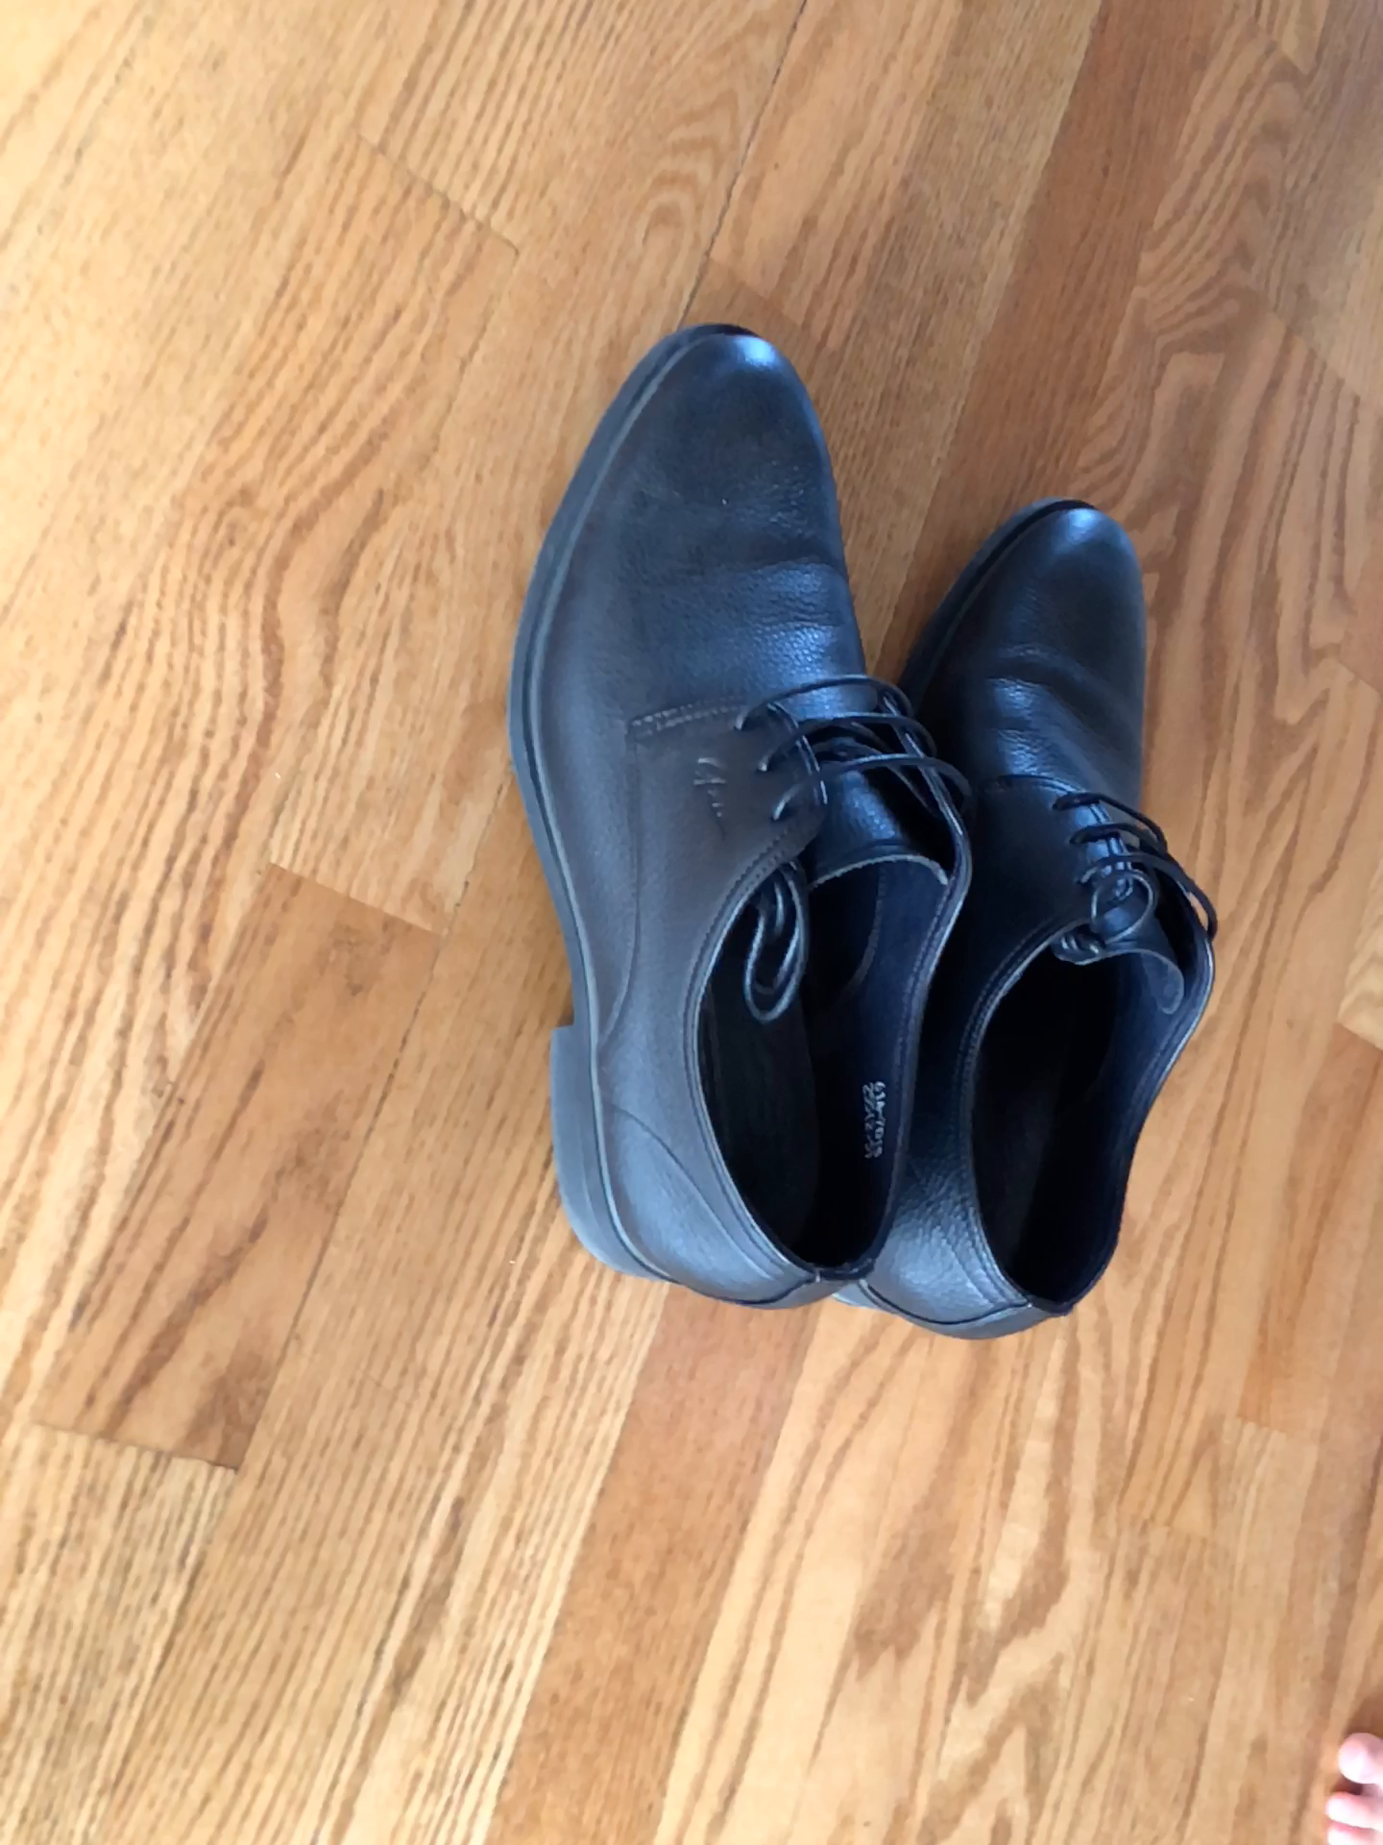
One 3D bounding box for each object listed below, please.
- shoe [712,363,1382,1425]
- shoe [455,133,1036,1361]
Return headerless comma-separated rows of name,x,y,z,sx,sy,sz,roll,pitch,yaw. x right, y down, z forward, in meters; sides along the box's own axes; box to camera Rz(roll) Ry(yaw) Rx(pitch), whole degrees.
shoe,0.127,-0.009,0.508,0.110,0.124,0.299,25,75,-29
shoe,0.014,-0.041,0.453,0.110,0.124,0.304,5,85,-32
